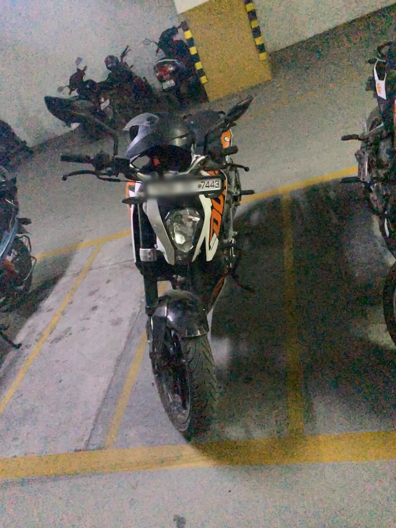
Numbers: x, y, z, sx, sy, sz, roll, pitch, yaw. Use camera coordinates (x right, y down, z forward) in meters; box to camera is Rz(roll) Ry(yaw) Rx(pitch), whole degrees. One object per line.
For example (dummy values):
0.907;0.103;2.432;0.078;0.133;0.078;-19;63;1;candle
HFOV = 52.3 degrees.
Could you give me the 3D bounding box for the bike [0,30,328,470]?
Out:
0.044;-0.228;2.186;0.804;1.181;1.919;-13;37;19;bike
